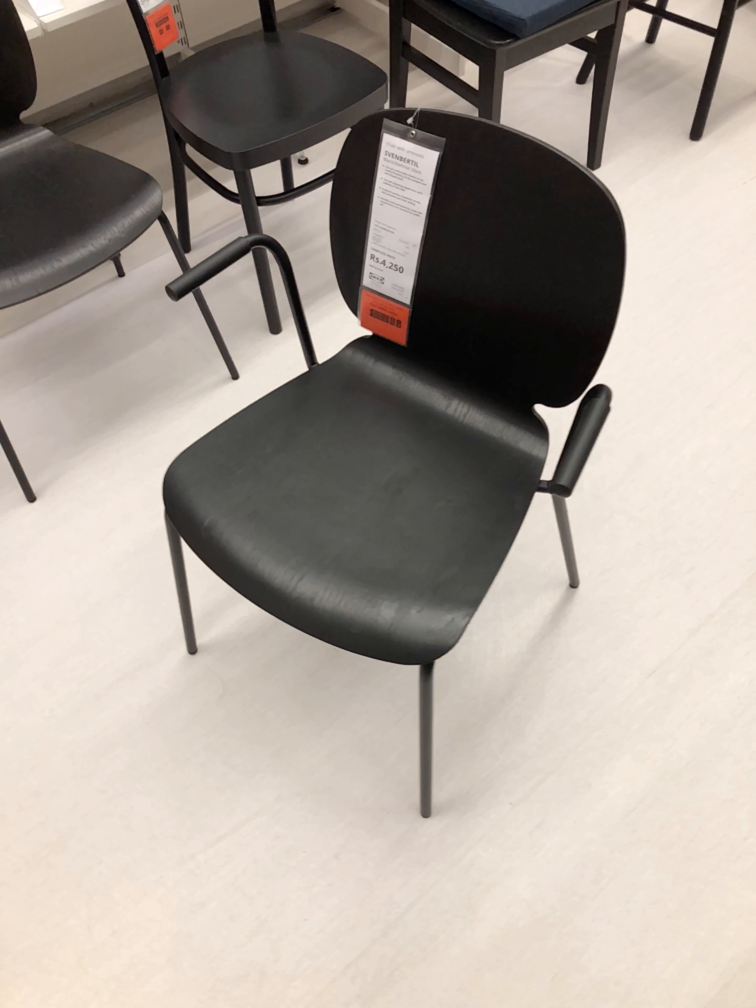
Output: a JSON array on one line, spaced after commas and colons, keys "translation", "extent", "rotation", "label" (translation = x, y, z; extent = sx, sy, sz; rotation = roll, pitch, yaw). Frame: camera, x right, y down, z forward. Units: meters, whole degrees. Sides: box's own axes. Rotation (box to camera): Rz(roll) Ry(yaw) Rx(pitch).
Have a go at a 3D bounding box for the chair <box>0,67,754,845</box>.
[{"translation": [0.015, -0.039, 1.109], "extent": [0.531, 0.686, 0.582], "rotation": [31, 62, 22], "label": "chair"}]
